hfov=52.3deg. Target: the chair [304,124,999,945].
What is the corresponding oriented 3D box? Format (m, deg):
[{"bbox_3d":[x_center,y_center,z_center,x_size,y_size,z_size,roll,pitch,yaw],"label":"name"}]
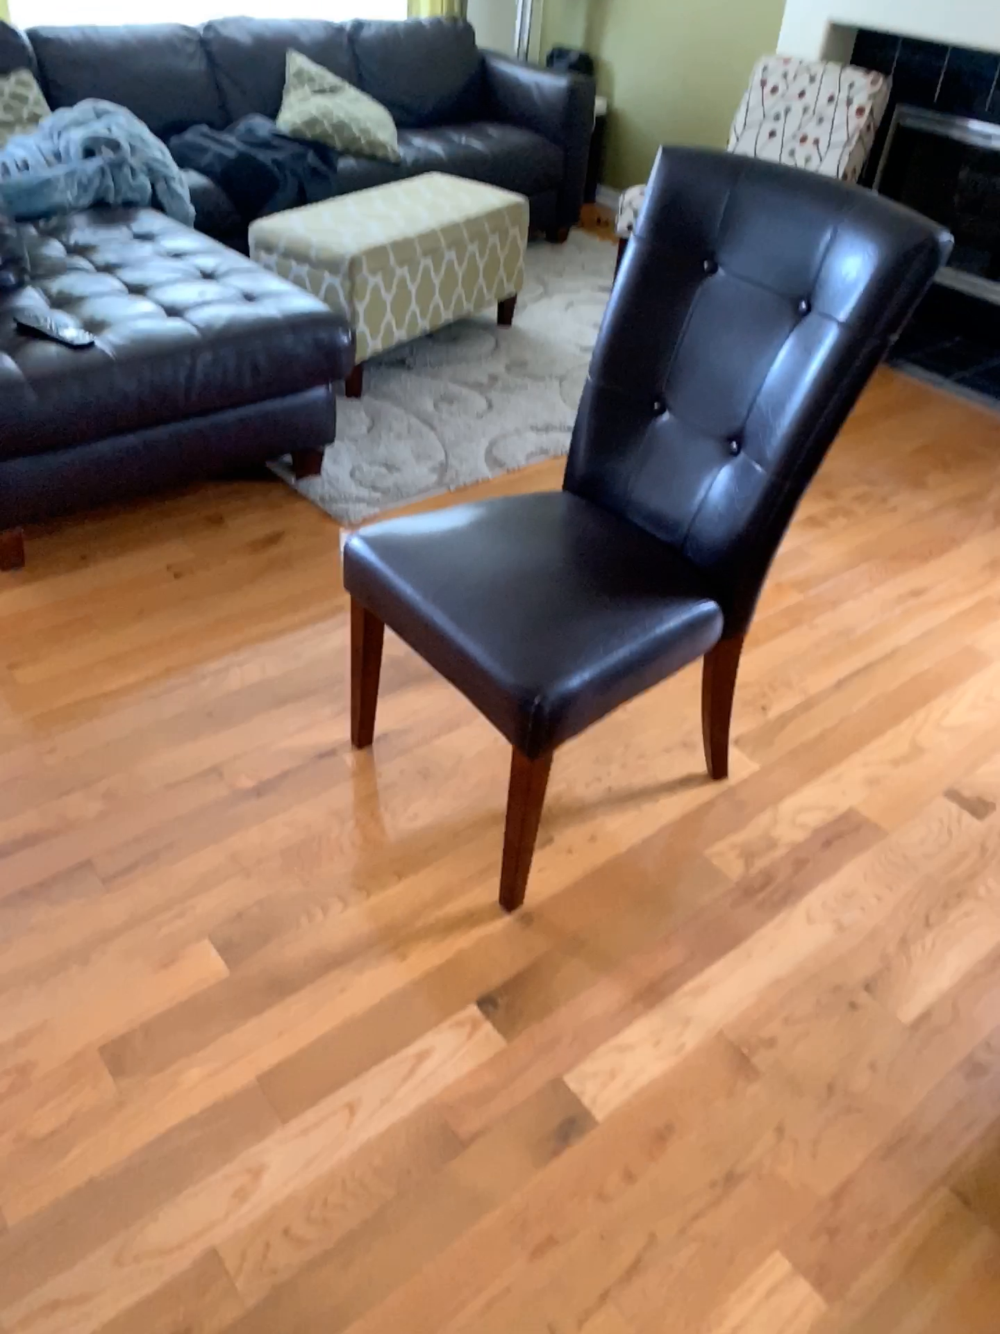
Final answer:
[{"bbox_3d":[0.171,-0.226,1.590,0.724,0.976,0.540,-23,46,-31],"label":"chair"}]
